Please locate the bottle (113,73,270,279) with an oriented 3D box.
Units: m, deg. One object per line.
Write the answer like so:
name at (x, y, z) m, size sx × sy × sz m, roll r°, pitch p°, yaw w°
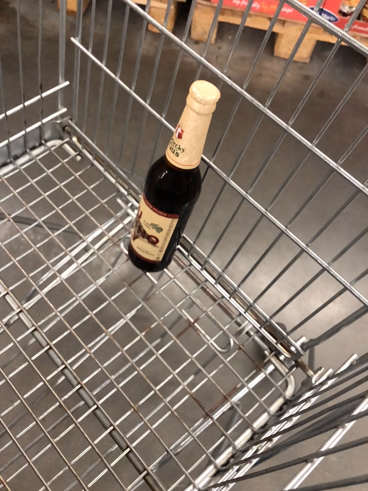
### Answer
bottle at (-0.008, -0.066, 0.471) m, size 0.080 × 0.239 × 0.080 m, roll 12°, pitch 50°, yaw -14°
